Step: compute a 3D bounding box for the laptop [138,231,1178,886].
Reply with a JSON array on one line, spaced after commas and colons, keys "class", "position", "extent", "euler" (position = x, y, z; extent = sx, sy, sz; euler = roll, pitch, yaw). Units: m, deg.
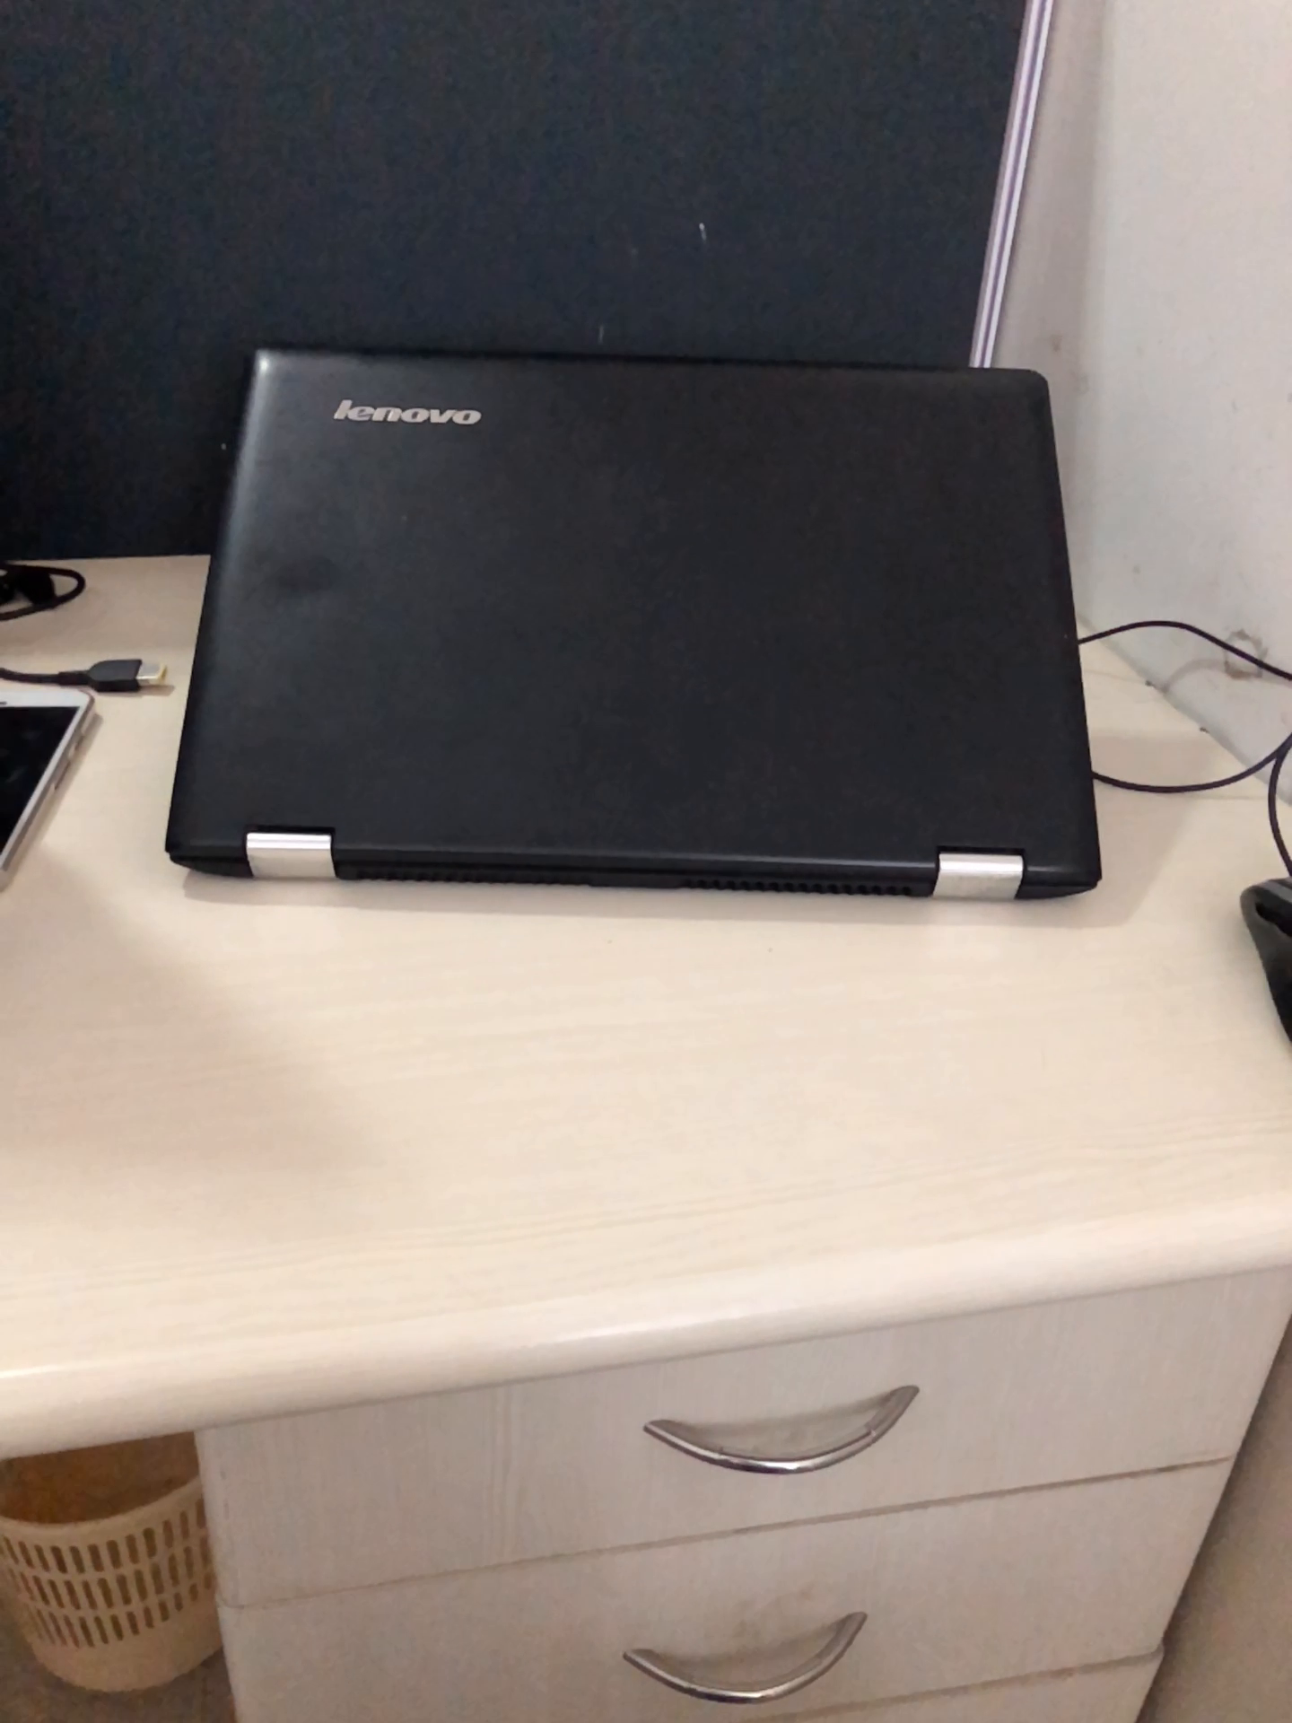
[{"class": "laptop", "position": [0.001, -0.127, 0.557], "extent": [0.323, 0.142, 0.206], "euler": [2, 38, -1]}]
